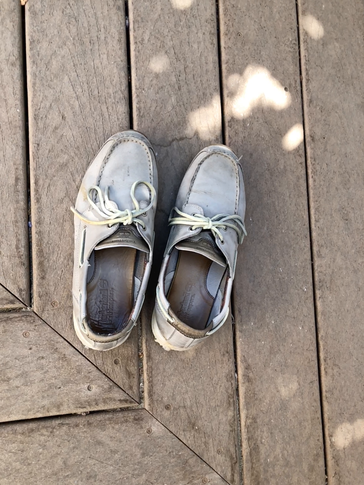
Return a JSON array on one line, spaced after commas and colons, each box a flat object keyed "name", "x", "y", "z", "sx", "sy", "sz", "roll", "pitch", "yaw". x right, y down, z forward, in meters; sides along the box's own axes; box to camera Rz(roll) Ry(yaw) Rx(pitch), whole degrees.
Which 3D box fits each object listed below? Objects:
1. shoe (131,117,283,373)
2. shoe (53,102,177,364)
[{"name": "shoe", "x": 0.034, "y": 0.005, "z": 0.566, "sx": 0.122, "sy": 0.098, "sz": 0.312, "roll": 16, "pitch": 81, "yaw": -13}, {"name": "shoe", "x": -0.089, "y": -0.008, "z": 0.533, "sx": 0.119, "sy": 0.096, "sz": 0.310, "roll": 6, "pitch": 83, "yaw": -15}]
